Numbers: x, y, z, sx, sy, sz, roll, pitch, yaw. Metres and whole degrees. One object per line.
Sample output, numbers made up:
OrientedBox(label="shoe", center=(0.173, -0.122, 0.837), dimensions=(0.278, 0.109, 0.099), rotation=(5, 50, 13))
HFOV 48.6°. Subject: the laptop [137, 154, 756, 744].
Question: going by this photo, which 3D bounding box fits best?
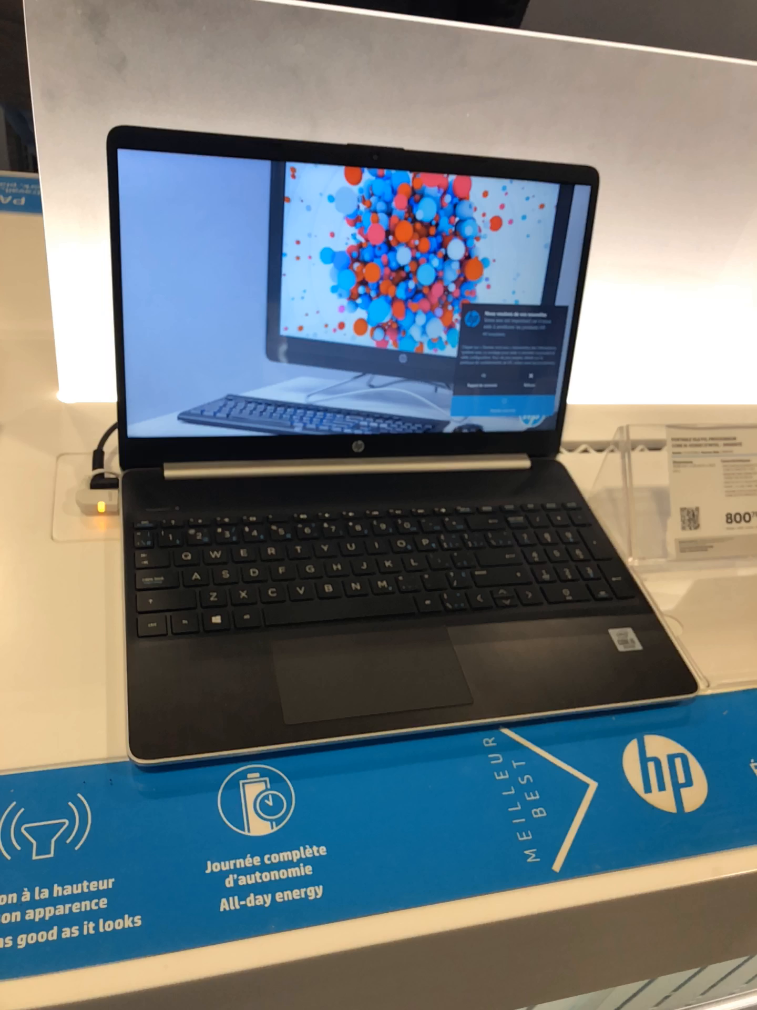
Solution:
OrientedBox(label="laptop", center=(0.025, -0.056, 0.533), dimensions=(0.336, 0.206, 0.317), rotation=(-2, 40, -15))
